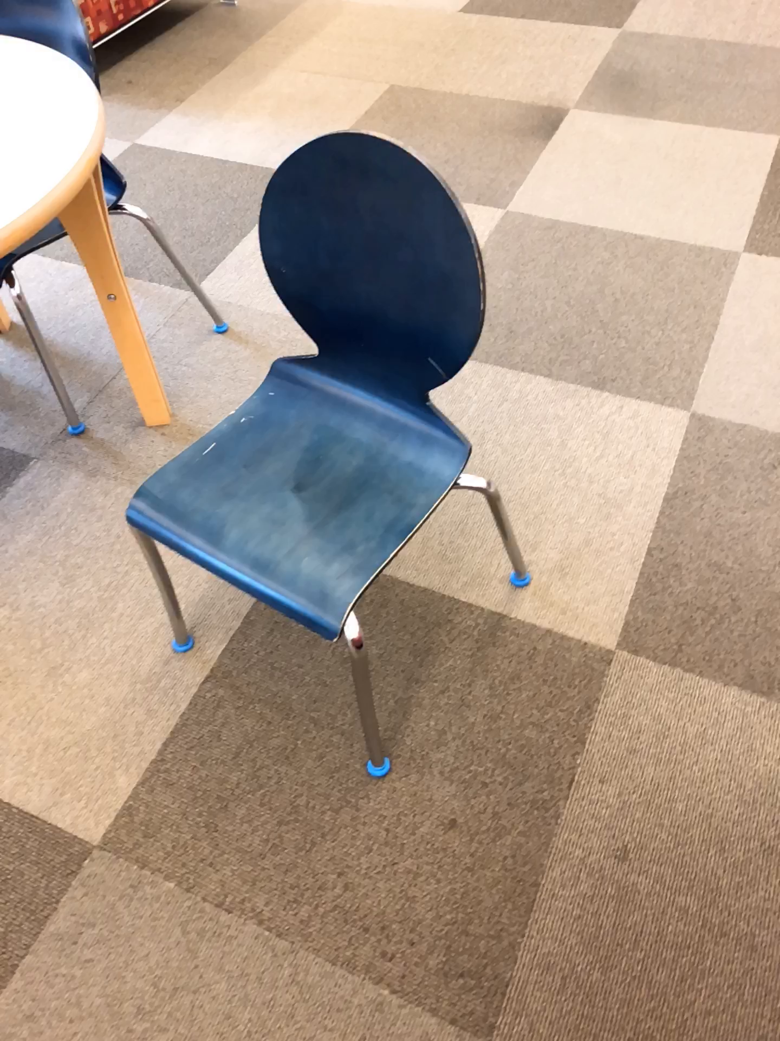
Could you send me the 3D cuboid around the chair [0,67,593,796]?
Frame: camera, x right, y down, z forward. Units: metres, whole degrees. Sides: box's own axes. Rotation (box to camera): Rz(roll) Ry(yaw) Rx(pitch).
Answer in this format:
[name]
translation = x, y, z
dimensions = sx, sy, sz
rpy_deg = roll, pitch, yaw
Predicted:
[chair]
translation = -0.107, -0.099, 1.138
dimensions = 0.498, 0.699, 0.475
rpy_deg = 26, 56, 24
